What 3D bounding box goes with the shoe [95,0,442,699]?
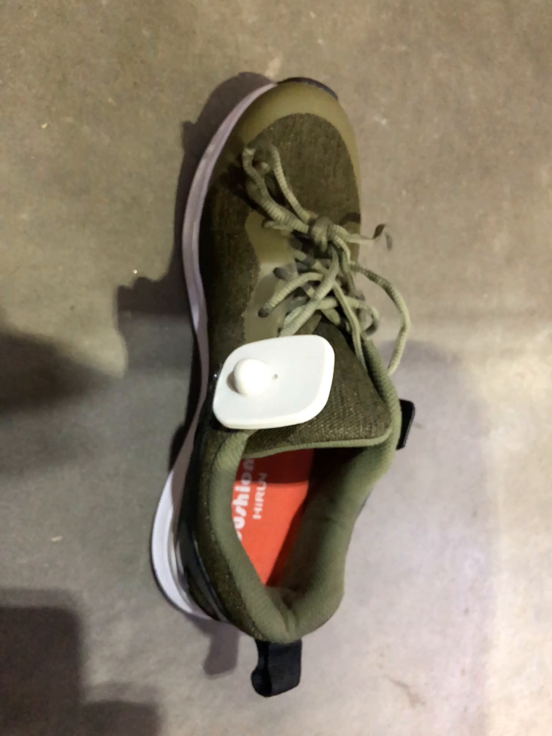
[{"bbox_3d":[-0.007,-0.011,0.319,0.120,0.100,0.290,6,89,-29],"label":"shoe"}]
